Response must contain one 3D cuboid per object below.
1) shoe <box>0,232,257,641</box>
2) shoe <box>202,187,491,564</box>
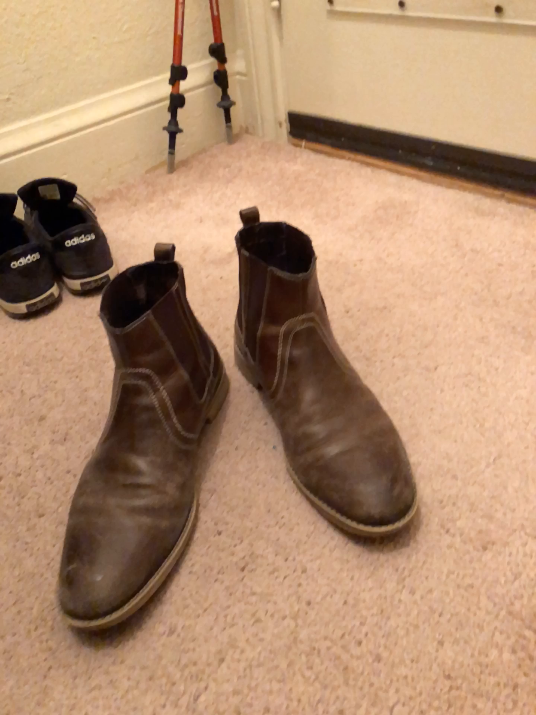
[{"bbox_3d":[-0.110,0.040,0.490,0.118,0.158,0.299,3,41,13],"label":"shoe"},{"bbox_3d":[0.046,-0.007,0.520,0.119,0.158,0.299,-16,40,-10],"label":"shoe"}]
